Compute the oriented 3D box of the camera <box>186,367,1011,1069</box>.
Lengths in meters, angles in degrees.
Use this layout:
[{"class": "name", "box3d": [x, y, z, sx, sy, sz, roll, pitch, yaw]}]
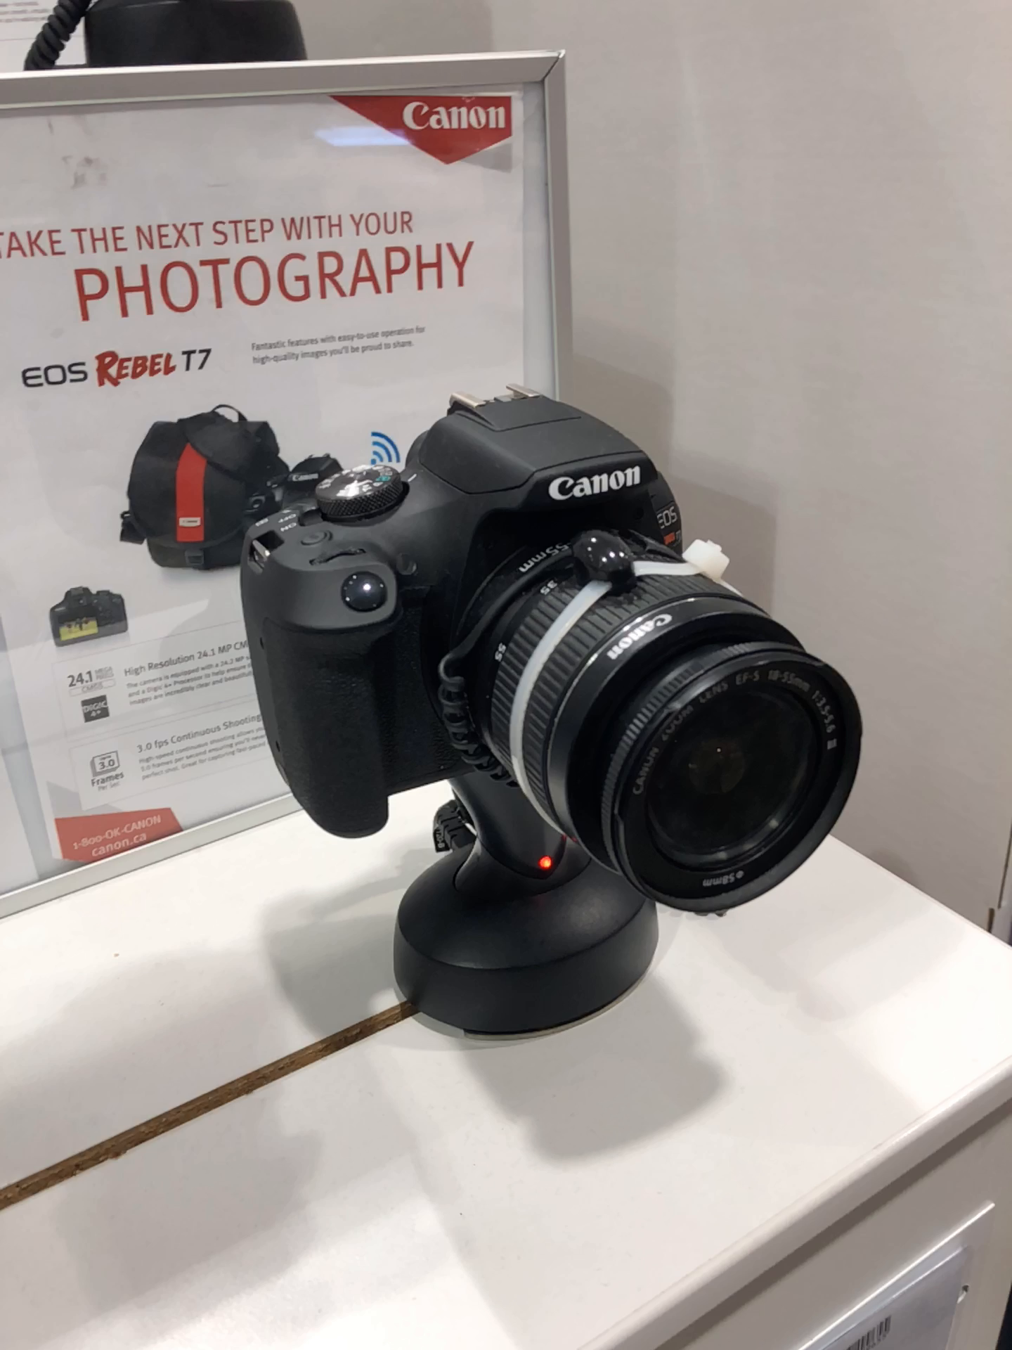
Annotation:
[{"class": "camera", "box3d": [0.015, -0.011, 0.283, 0.140, 0.090, 0.151, -16, 29, -23]}]
